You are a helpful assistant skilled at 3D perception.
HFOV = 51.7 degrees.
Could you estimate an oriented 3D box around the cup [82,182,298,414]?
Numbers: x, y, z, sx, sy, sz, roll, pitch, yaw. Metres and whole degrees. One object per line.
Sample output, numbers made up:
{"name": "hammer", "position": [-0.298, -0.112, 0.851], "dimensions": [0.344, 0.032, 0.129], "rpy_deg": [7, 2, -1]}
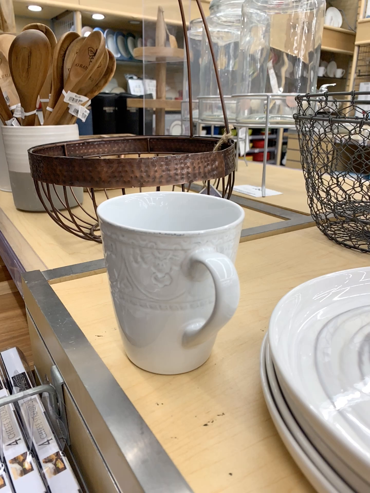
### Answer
{"name": "cup", "position": [-0.004, 0.021, 0.281], "dimensions": [0.099, 0.107, 0.125], "rpy_deg": [-11, 23, -28]}
